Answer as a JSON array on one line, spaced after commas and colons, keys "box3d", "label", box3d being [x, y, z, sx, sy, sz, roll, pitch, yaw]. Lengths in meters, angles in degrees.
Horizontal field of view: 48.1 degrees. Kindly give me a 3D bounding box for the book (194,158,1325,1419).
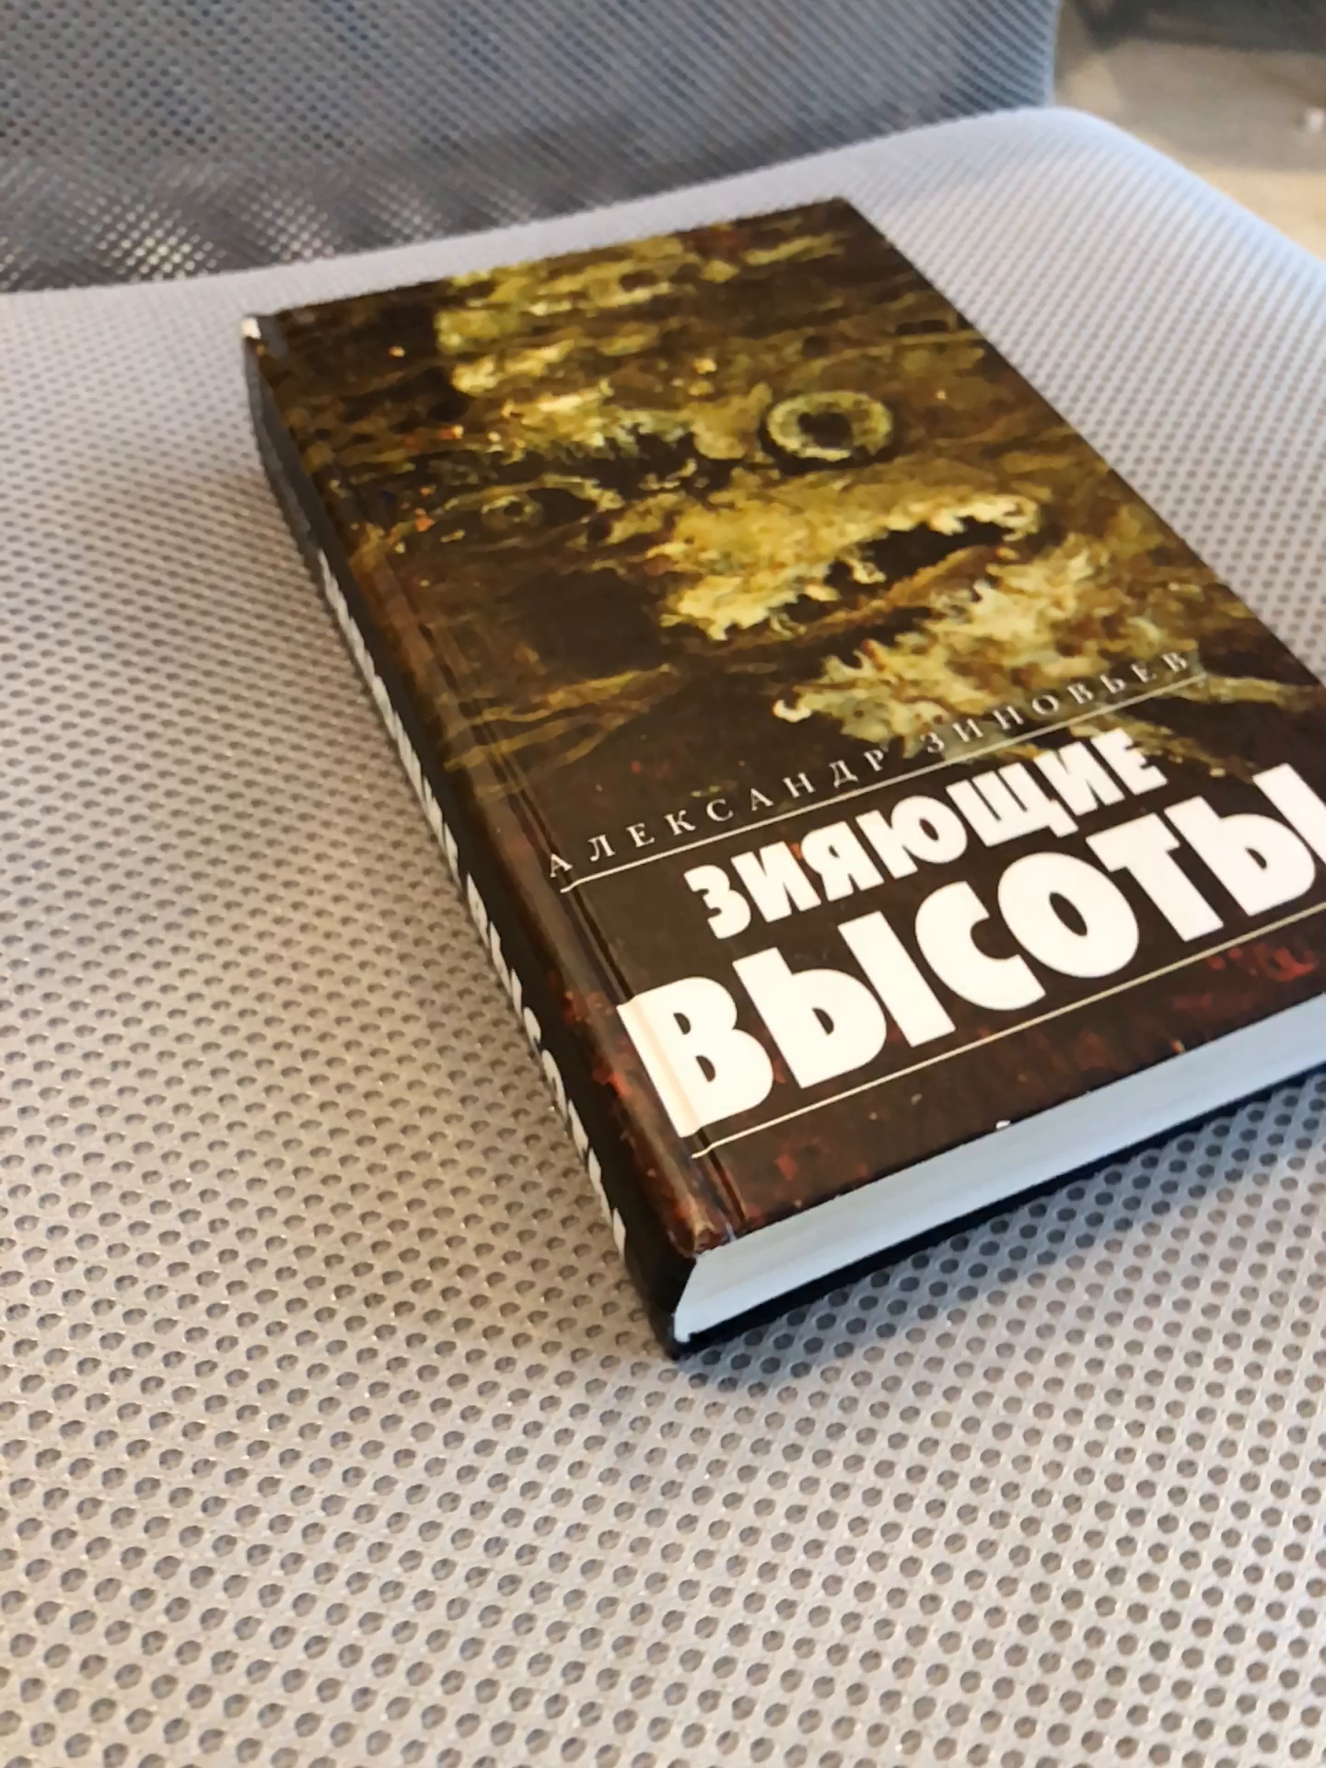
[{"box3d": [0.021, -0.036, 0.245, 0.140, 0.040, 0.191, -18, 62, -17], "label": "book"}]
